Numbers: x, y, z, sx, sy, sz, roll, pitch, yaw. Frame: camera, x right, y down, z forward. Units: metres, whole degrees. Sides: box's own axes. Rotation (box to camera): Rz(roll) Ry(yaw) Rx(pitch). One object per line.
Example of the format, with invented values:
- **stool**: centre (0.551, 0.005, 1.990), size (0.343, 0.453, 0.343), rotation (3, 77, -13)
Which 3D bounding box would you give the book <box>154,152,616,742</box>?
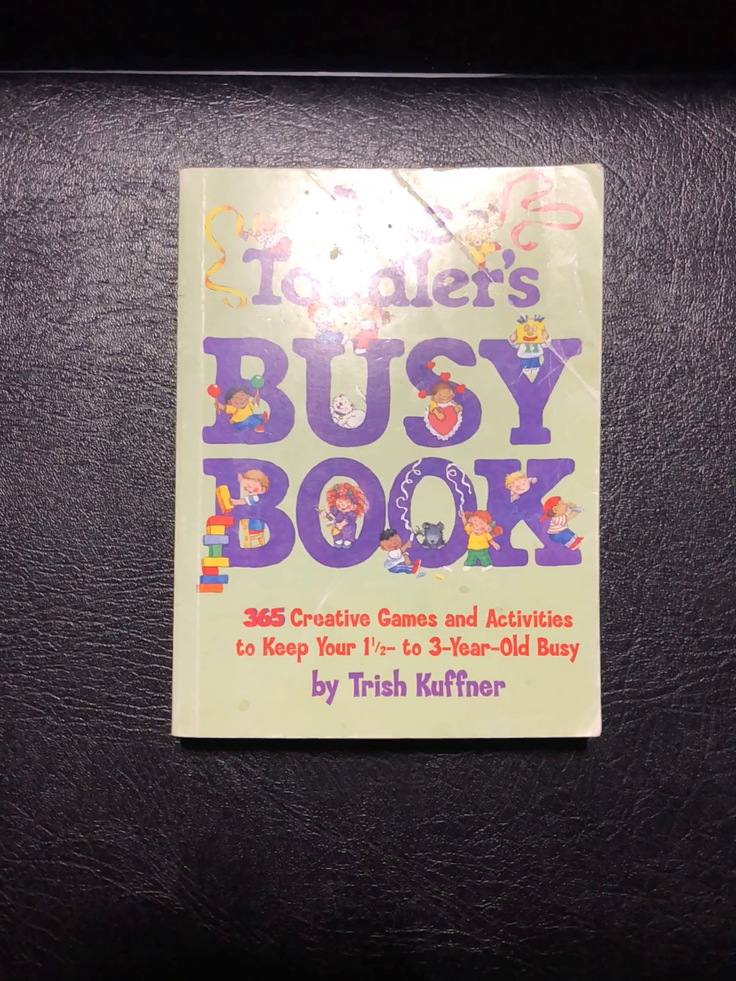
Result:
- **book**: centre (0.005, -0.014, 0.259), size (0.136, 0.033, 0.176), rotation (0, 88, -1)
